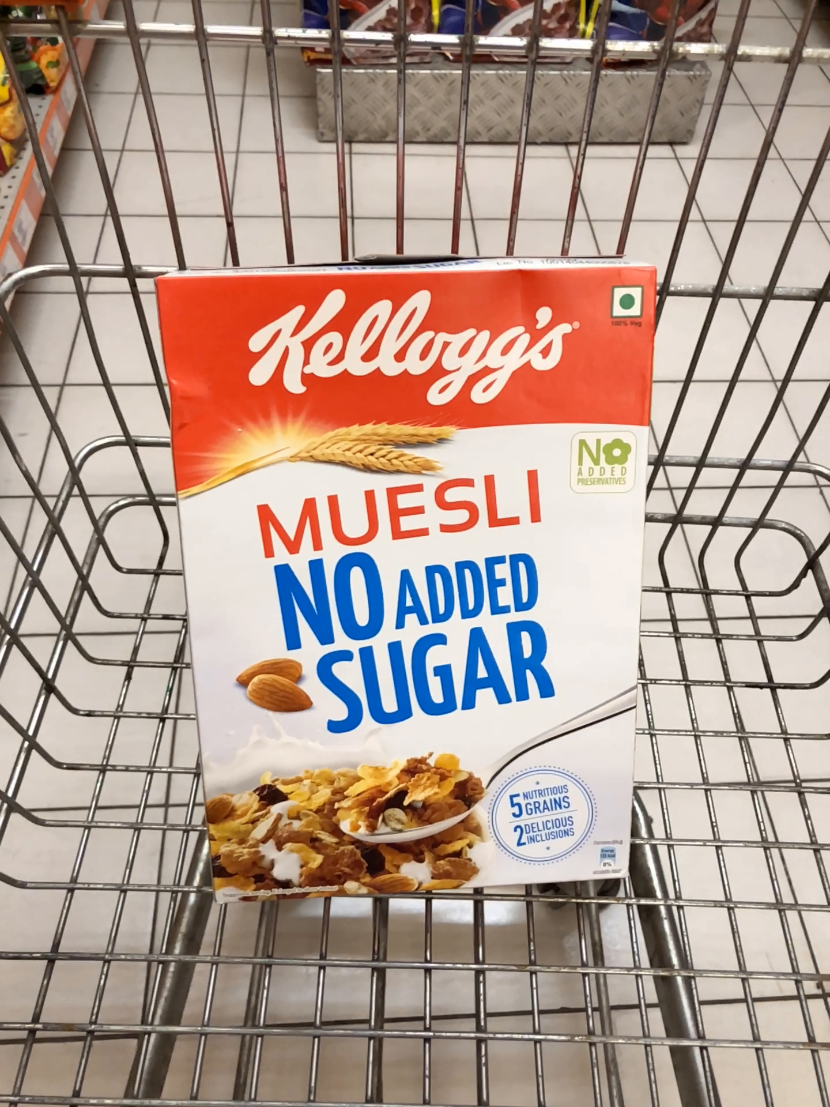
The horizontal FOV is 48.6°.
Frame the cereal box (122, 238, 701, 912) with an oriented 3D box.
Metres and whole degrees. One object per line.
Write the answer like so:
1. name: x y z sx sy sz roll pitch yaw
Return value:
1. cereal box: -0.001 0.009 0.374 0.190 0.259 0.070 -2 18 -4
